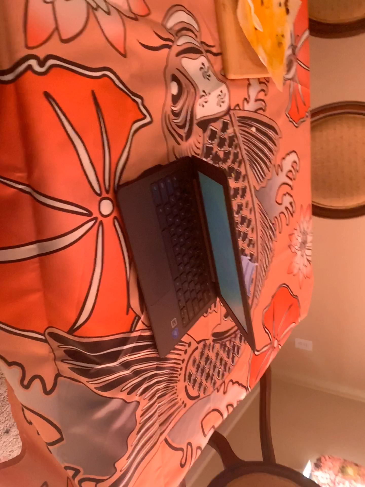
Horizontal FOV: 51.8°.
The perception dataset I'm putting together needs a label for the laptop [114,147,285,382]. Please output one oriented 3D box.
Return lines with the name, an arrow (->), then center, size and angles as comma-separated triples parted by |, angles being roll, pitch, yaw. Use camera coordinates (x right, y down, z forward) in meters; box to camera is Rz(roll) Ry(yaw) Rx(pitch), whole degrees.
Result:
laptop -> 0.049, 0.021, 0.615 | 0.212, 0.144, 0.299 | -39, 124, -48
